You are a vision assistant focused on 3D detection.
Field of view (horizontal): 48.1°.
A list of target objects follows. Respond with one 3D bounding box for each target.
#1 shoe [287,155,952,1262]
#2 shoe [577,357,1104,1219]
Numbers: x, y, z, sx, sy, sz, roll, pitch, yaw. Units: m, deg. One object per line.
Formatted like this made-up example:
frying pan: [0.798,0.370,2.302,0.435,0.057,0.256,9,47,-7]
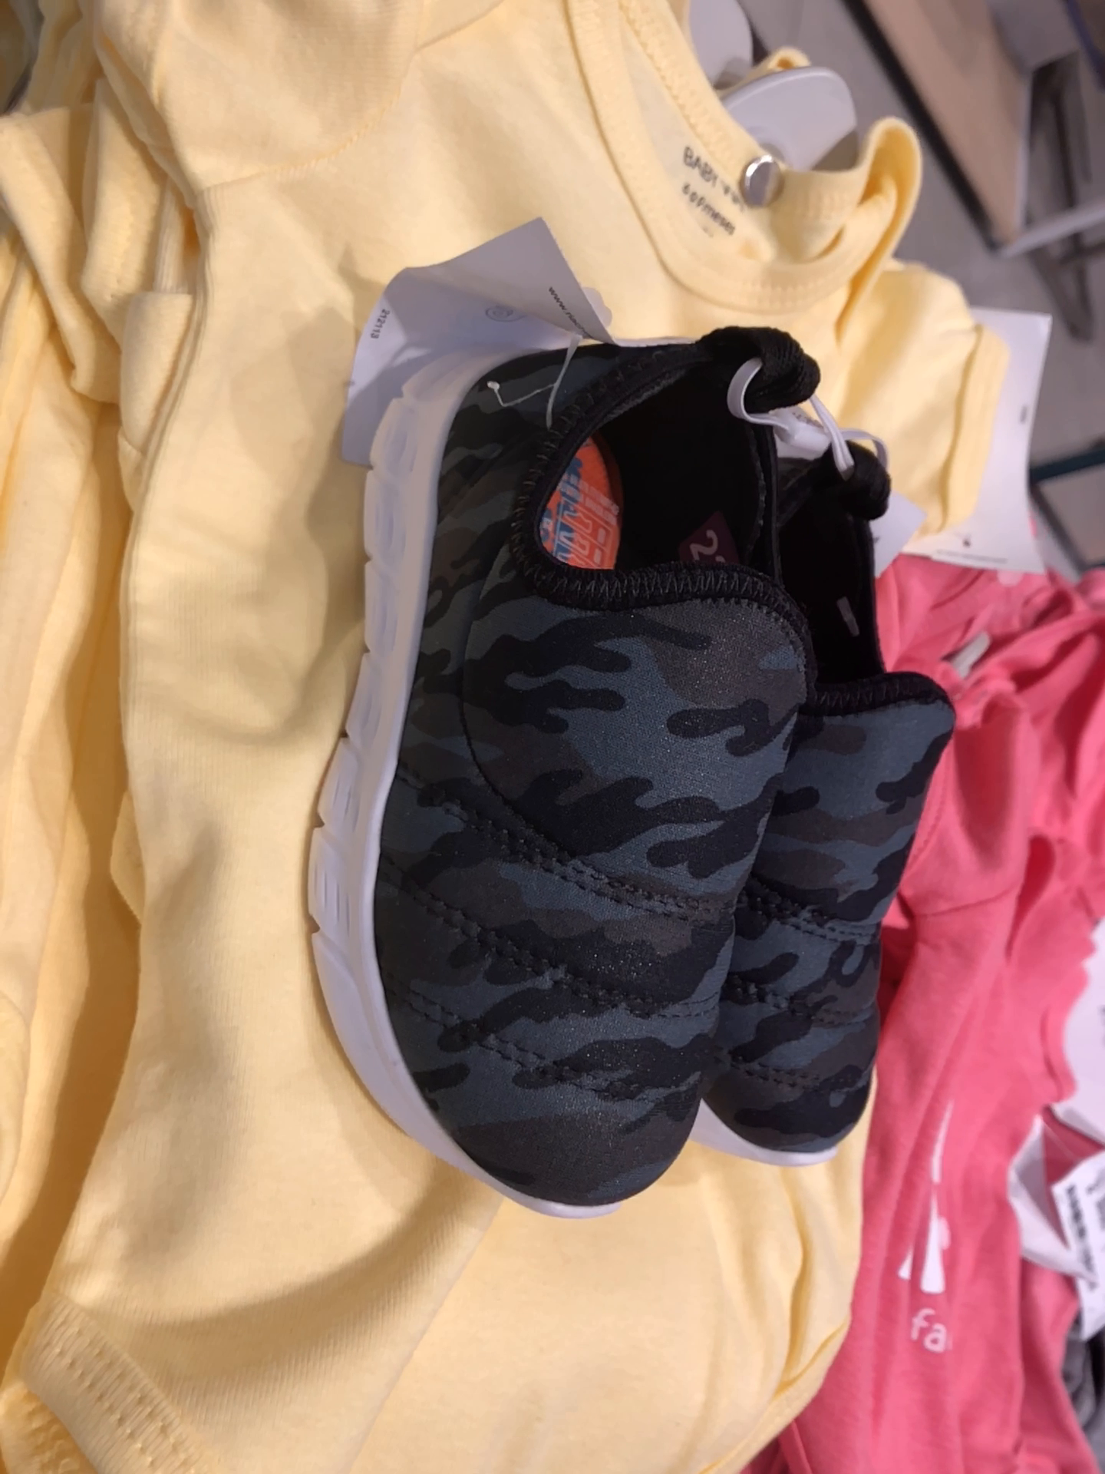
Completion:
shoe: [0.010,0.000,0.214,0.070,0.079,0.150,14,71,-48]
shoe: [0.061,0.012,0.263,0.070,0.070,0.150,4,79,-50]
